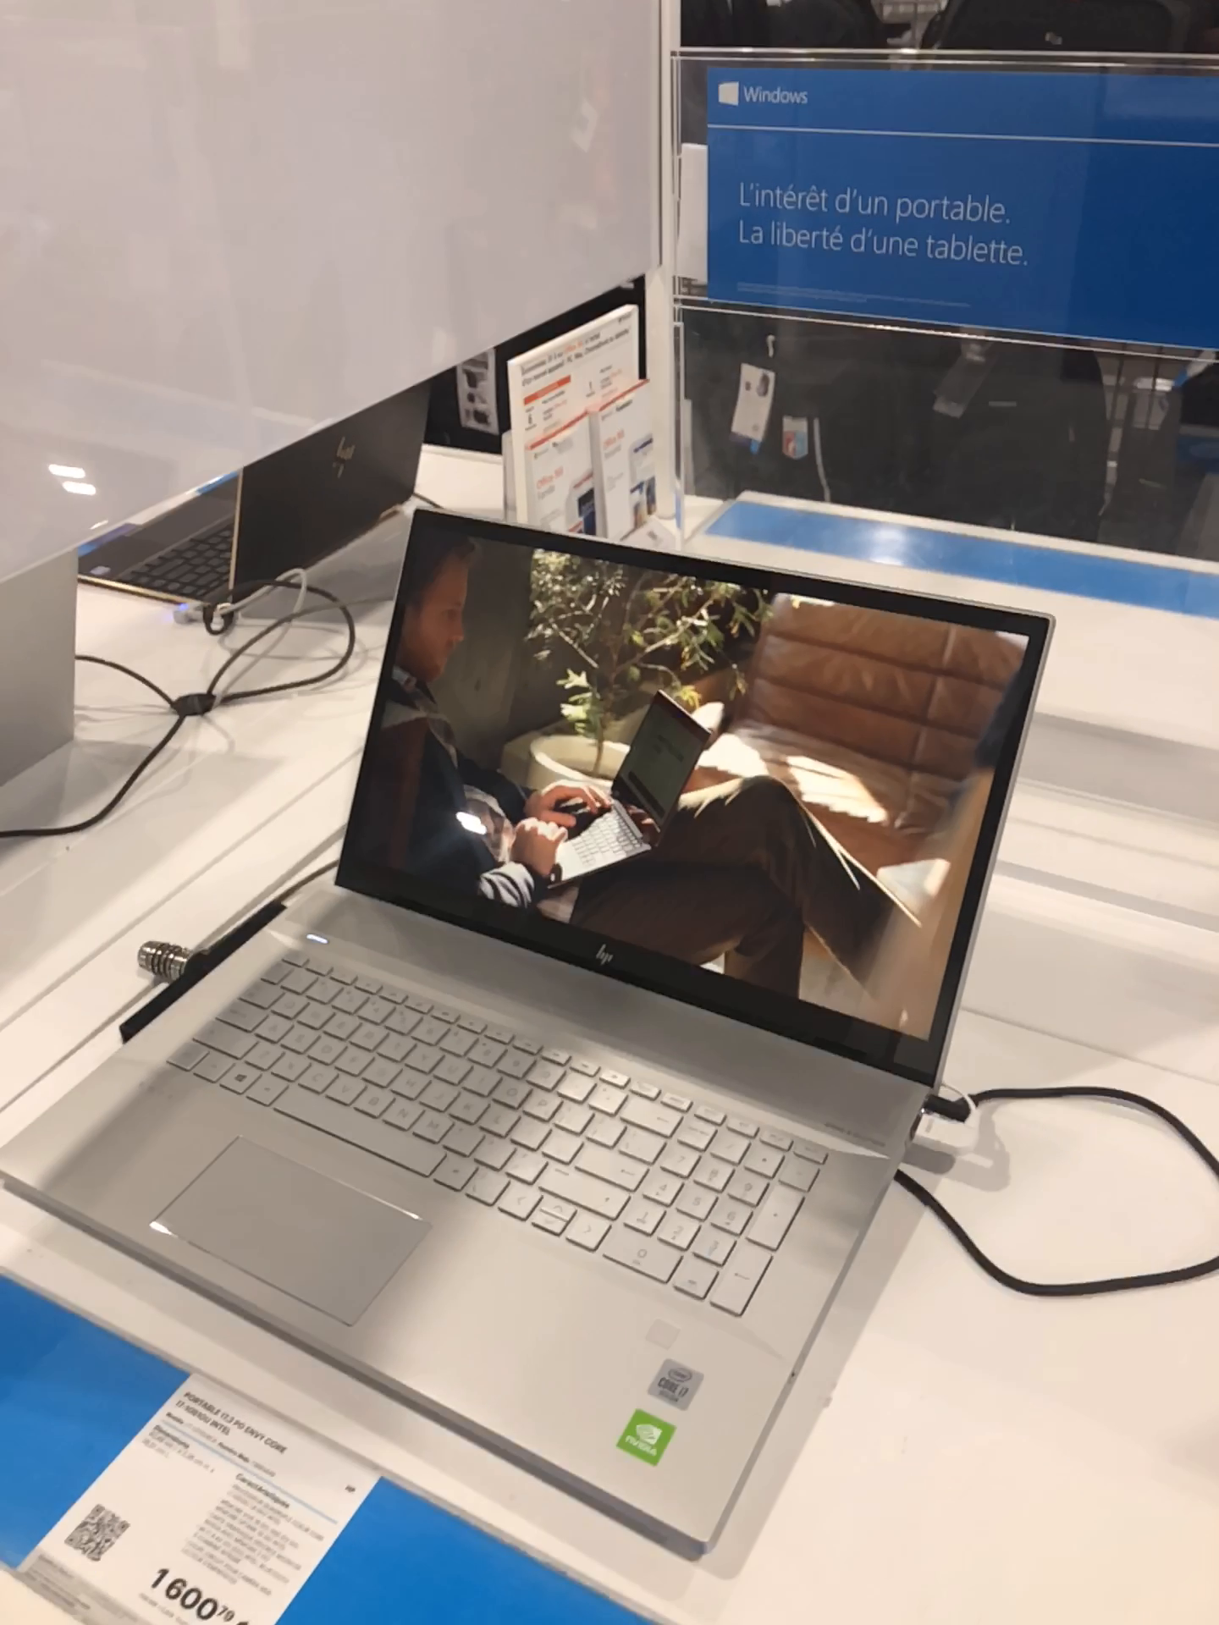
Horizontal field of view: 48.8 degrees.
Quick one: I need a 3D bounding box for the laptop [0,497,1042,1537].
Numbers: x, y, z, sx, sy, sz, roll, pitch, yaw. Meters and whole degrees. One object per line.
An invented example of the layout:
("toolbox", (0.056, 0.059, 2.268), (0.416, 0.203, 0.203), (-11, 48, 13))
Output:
("laptop", (-0.045, 0.035, 0.670), (0.391, 0.199, 0.398), (16, 37, 25))
